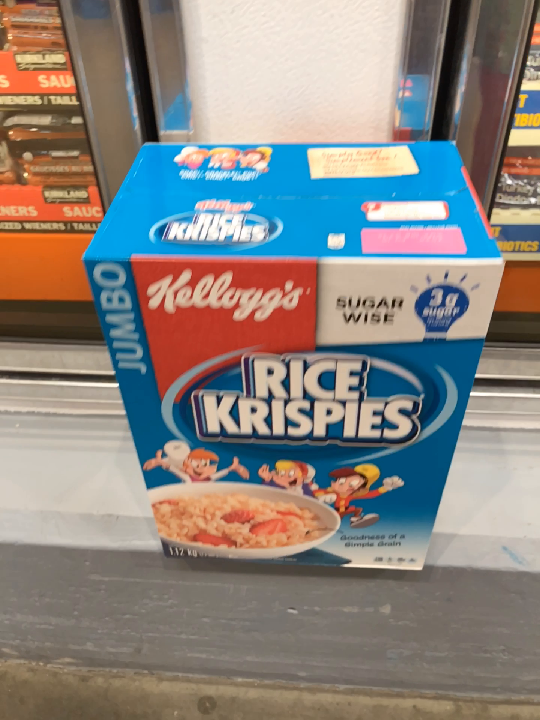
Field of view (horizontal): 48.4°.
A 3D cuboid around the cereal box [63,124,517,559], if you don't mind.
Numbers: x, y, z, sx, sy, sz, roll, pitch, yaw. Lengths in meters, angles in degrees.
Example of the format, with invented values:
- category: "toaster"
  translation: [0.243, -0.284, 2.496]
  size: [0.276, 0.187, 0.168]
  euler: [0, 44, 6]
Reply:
- category: "cereal box"
  translation: [0.018, 0.001, 0.486]
  size: [0.240, 0.319, 0.160]
  euler: [1, 44, 4]
